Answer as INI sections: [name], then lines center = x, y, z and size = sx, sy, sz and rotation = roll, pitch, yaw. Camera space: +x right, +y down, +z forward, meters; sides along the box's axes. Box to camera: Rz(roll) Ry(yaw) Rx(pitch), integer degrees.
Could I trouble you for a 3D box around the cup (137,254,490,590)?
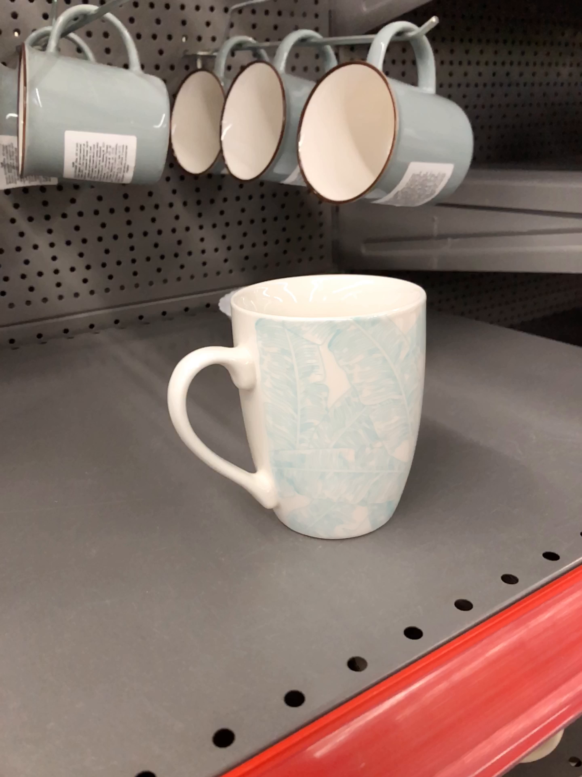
[cup]
center = 0.008, 0.004, 0.284
size = 0.121, 0.098, 0.083
rotation = -13, 25, -25
